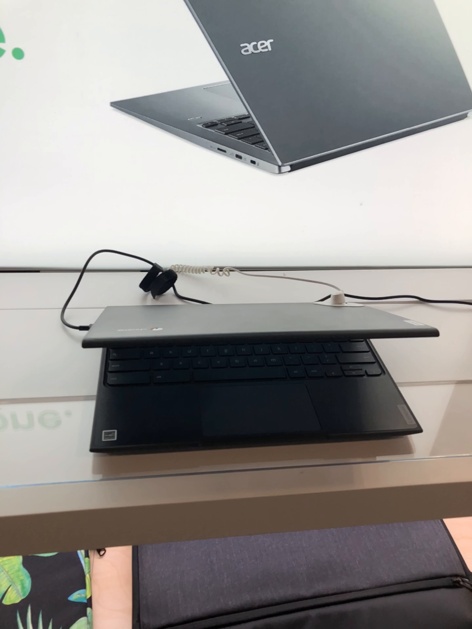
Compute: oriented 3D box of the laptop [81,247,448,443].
[{"bbox_3d":[0.011,0.016,0.479,0.276,0.072,0.187,-1,36,-6],"label":"laptop"}]
